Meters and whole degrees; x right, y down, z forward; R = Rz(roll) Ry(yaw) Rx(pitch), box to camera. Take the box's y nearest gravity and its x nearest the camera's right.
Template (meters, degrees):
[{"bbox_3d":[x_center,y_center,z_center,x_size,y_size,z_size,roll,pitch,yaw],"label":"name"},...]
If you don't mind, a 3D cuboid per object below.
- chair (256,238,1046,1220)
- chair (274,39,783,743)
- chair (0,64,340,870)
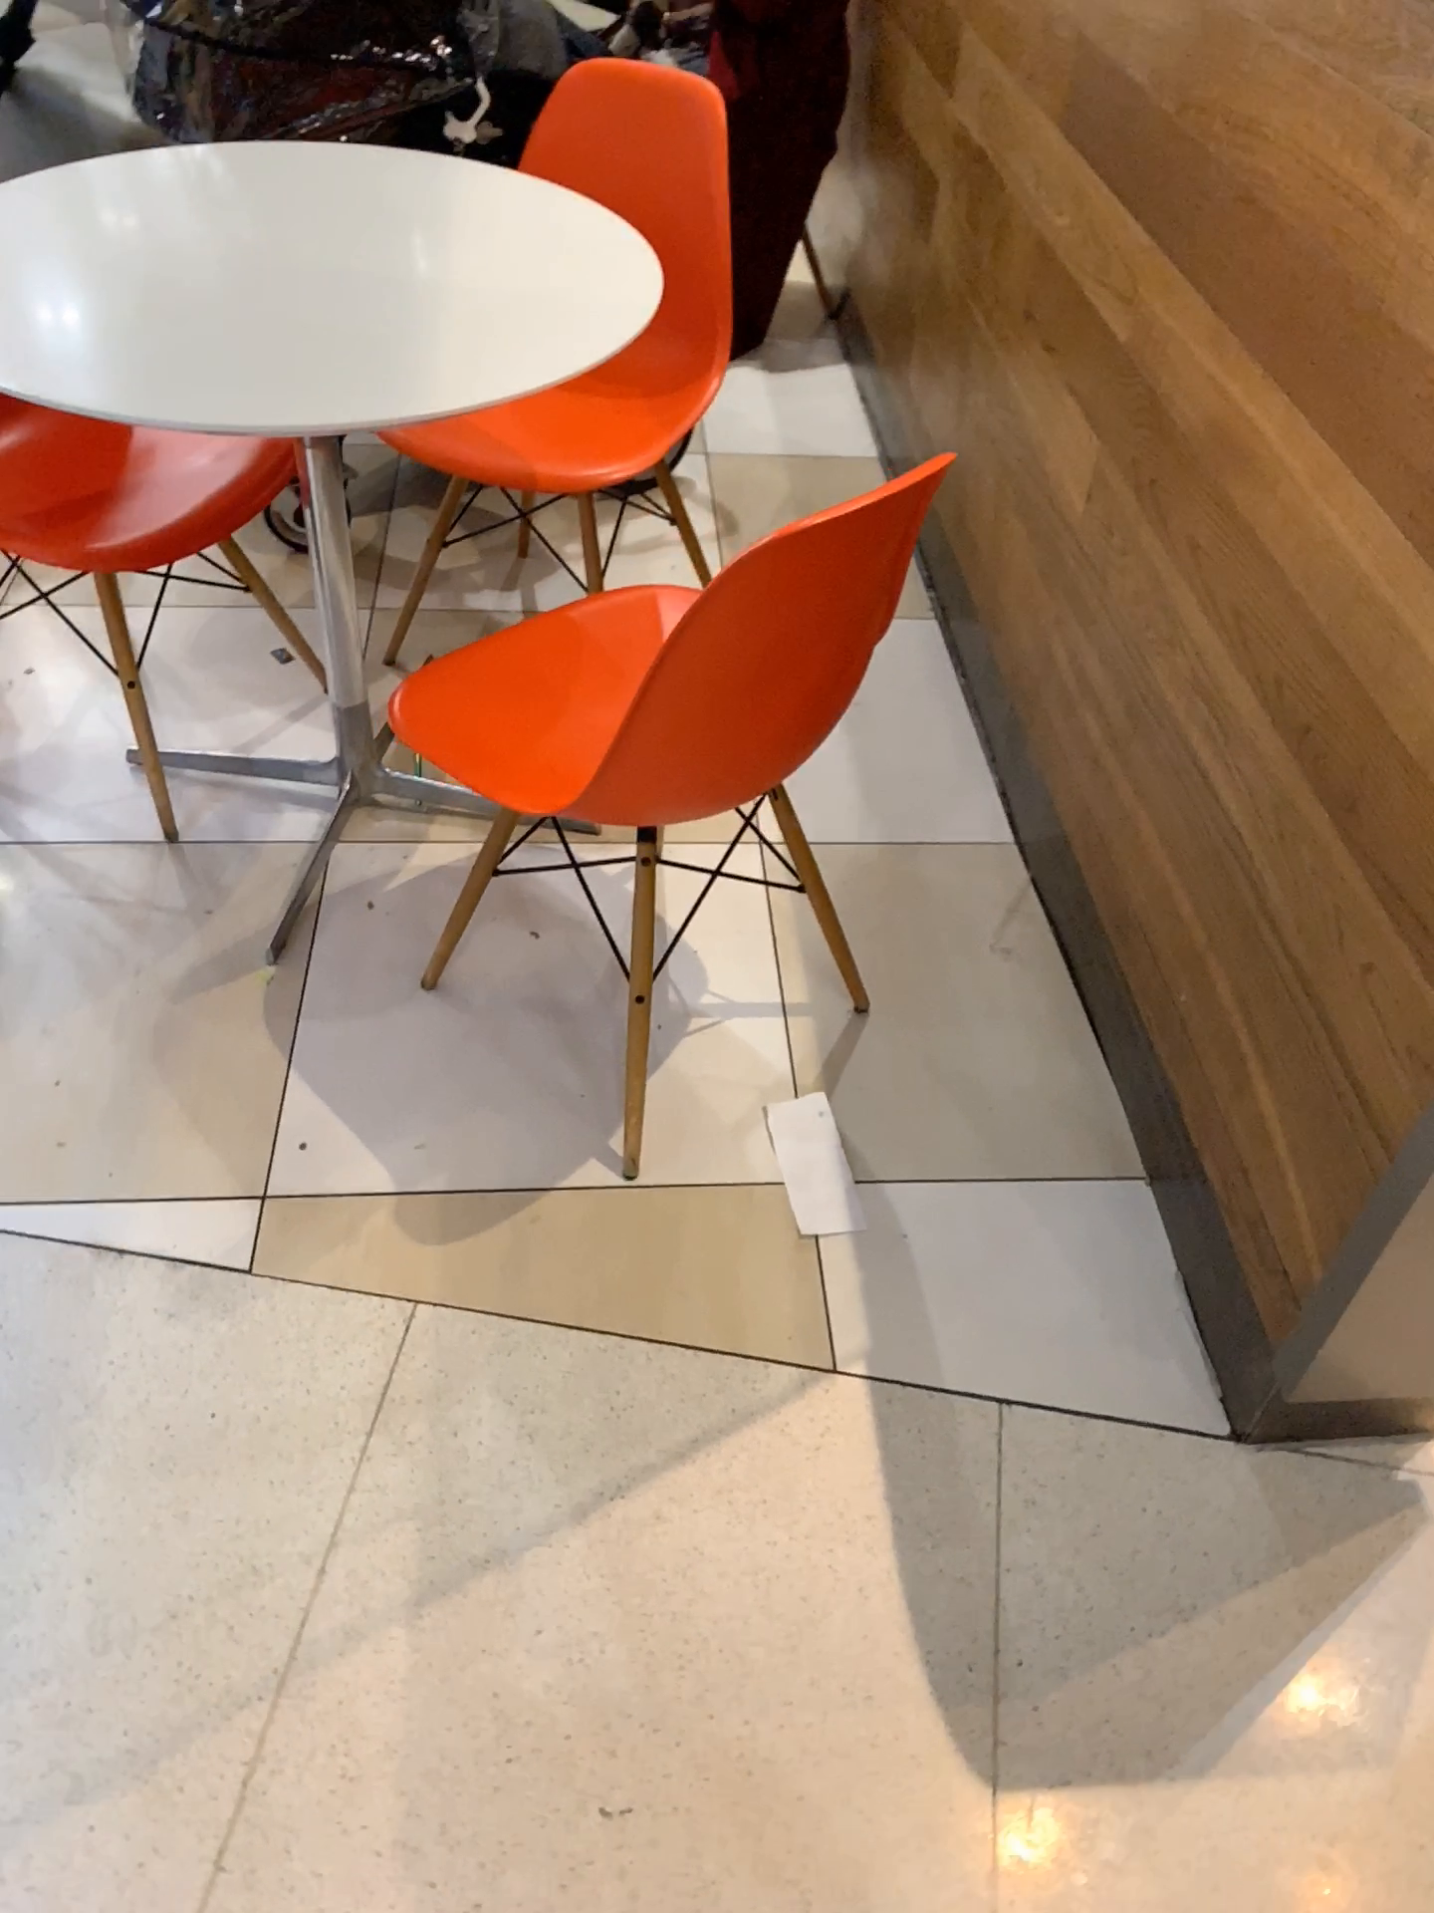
[{"bbox_3d":[-0.082,-0.234,1.516,0.449,0.742,0.523,-32,54,-32],"label":"chair"},{"bbox_3d":[-0.240,-0.811,2.112,0.448,0.742,0.525,19,45,14],"label":"chair"},{"bbox_3d":[-0.859,-0.602,1.845,0.511,0.762,0.451,17,45,11],"label":"chair"}]
